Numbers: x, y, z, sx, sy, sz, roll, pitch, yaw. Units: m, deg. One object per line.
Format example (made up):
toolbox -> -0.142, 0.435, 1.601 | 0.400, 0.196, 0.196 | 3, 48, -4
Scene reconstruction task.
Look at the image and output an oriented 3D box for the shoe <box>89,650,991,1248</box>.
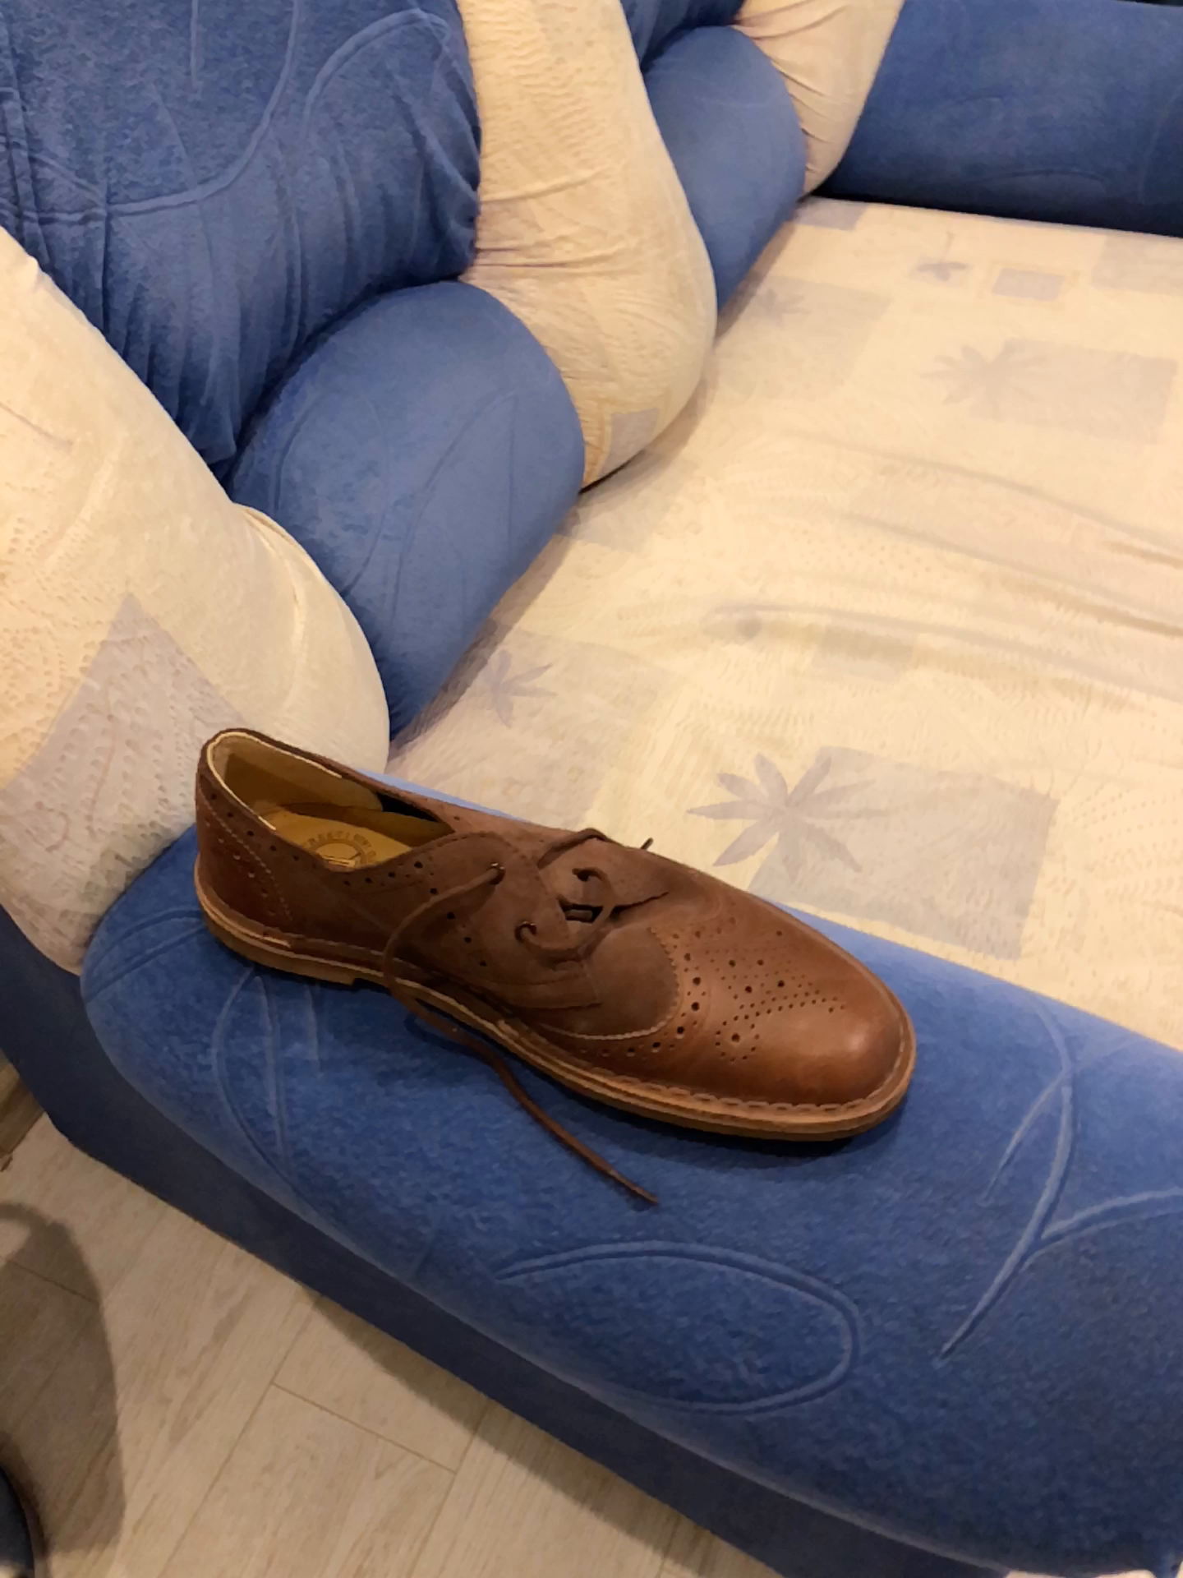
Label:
shoe -> -0.021, 0.052, 0.508 | 0.313, 0.089, 0.114 | 16, 50, 17
